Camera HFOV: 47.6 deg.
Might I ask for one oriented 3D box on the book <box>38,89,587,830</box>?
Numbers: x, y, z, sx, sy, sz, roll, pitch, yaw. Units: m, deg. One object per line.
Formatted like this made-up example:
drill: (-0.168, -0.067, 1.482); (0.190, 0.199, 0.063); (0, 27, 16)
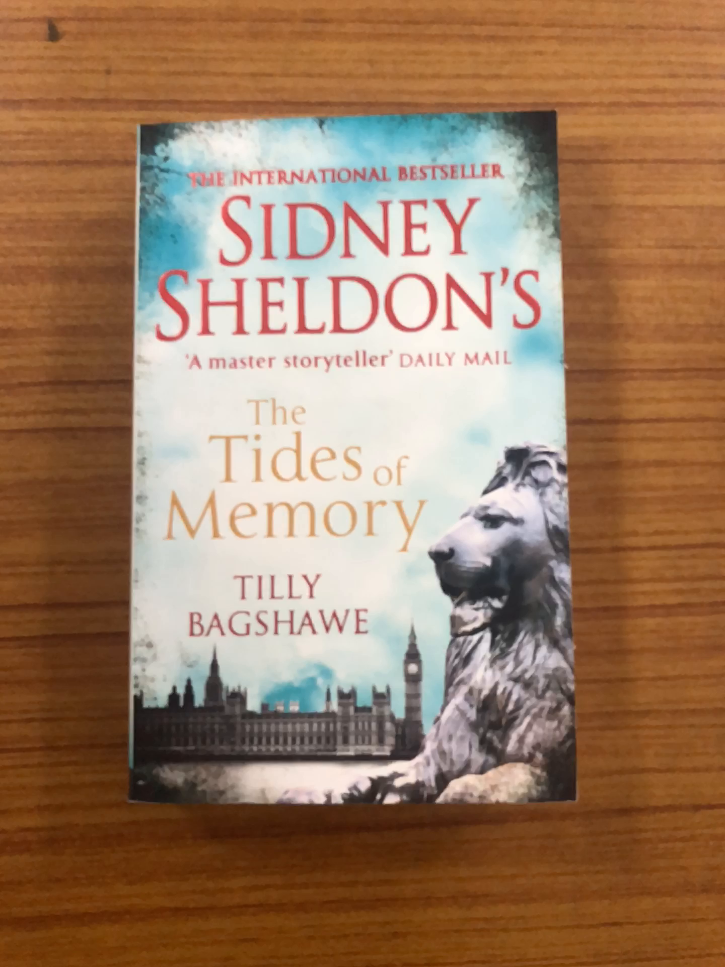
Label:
book: (-0.013, -0.006, 0.207); (0.122, 0.038, 0.168); (-1, 86, 1)
